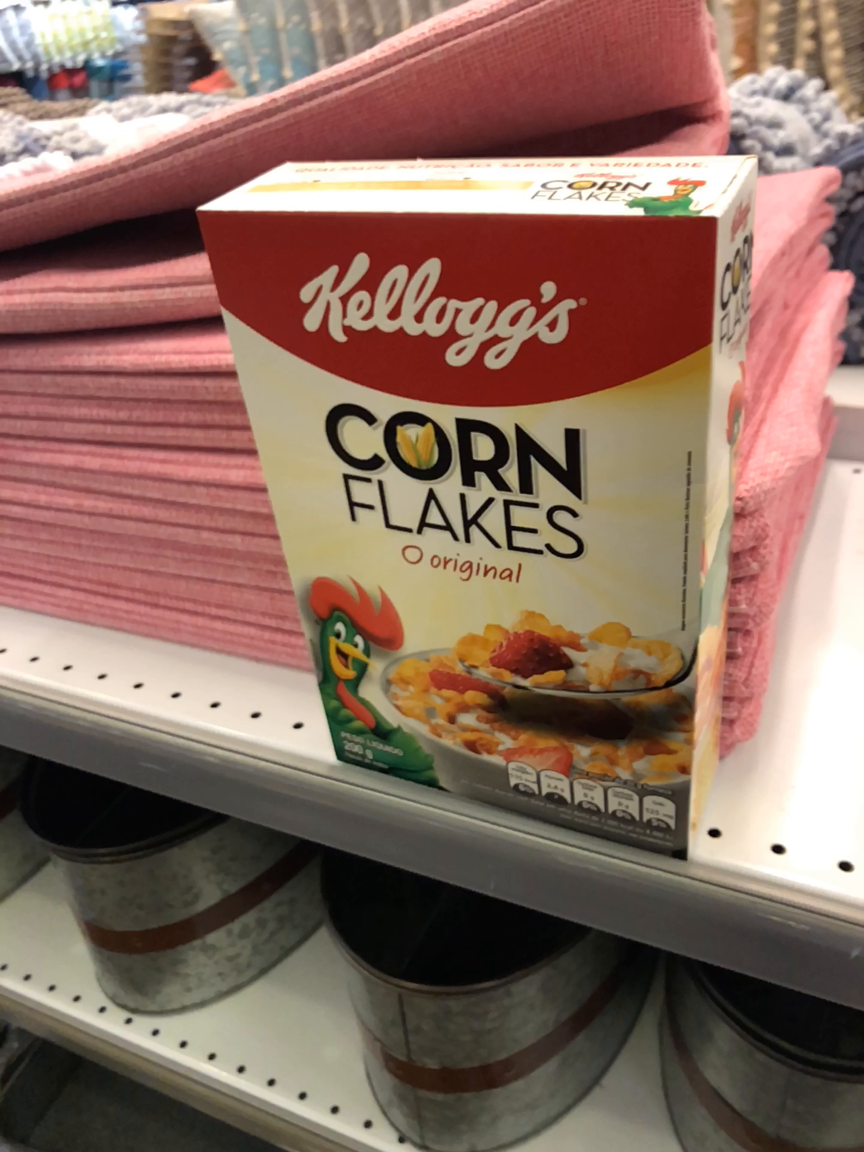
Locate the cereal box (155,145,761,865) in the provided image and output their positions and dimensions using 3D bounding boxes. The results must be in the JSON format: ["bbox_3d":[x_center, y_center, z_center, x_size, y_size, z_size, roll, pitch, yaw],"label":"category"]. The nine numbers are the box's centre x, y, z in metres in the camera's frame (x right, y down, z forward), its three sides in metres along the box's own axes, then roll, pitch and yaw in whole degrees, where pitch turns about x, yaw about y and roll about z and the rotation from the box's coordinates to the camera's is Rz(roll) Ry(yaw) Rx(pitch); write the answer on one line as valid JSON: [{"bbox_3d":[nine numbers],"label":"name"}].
[{"bbox_3d":[0.019,-0.020,0.373,0.180,0.258,0.060,10,40,25],"label":"cereal box"}]
